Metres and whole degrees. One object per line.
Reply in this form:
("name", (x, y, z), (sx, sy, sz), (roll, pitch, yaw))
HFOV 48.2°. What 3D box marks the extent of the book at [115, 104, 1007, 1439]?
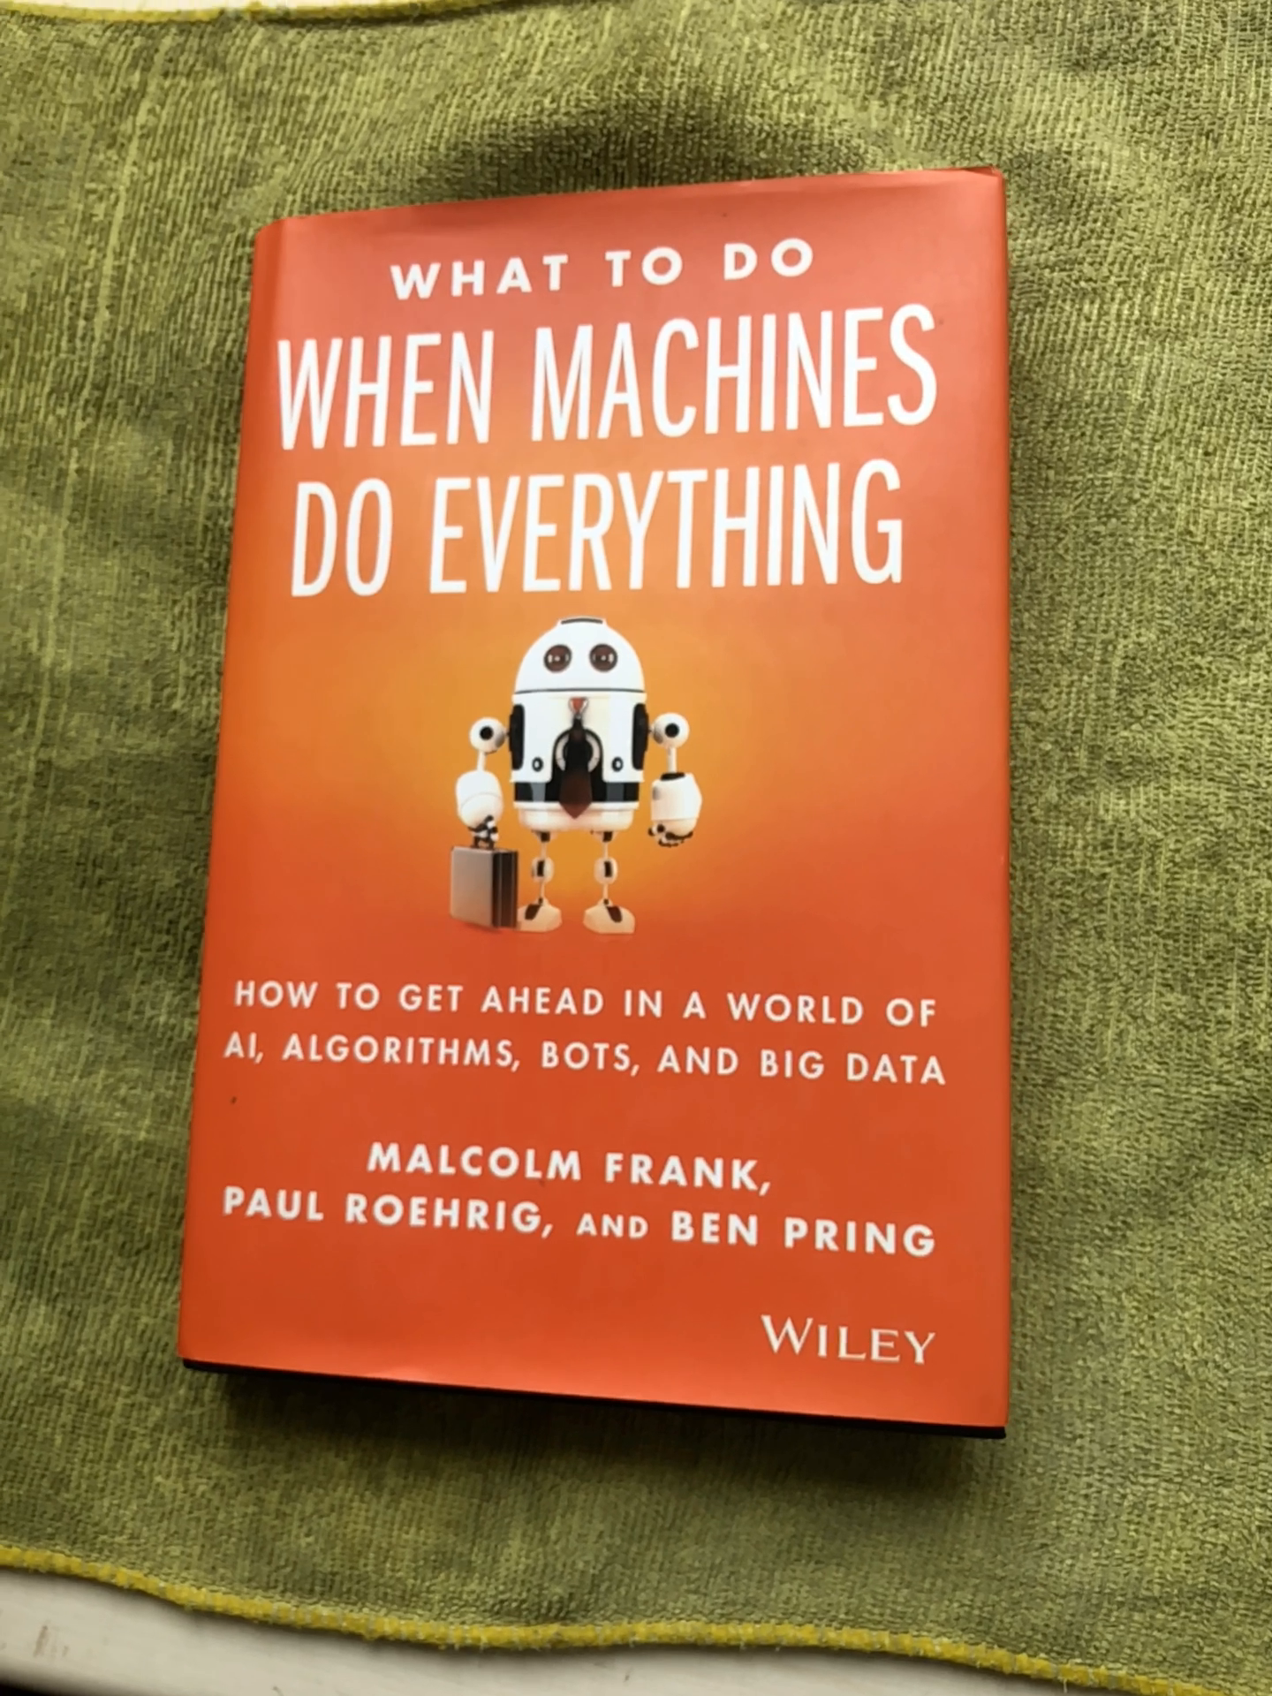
("book", (-0.010, -0.019, 0.285), (0.160, 0.040, 0.240), (1, 83, 9))
